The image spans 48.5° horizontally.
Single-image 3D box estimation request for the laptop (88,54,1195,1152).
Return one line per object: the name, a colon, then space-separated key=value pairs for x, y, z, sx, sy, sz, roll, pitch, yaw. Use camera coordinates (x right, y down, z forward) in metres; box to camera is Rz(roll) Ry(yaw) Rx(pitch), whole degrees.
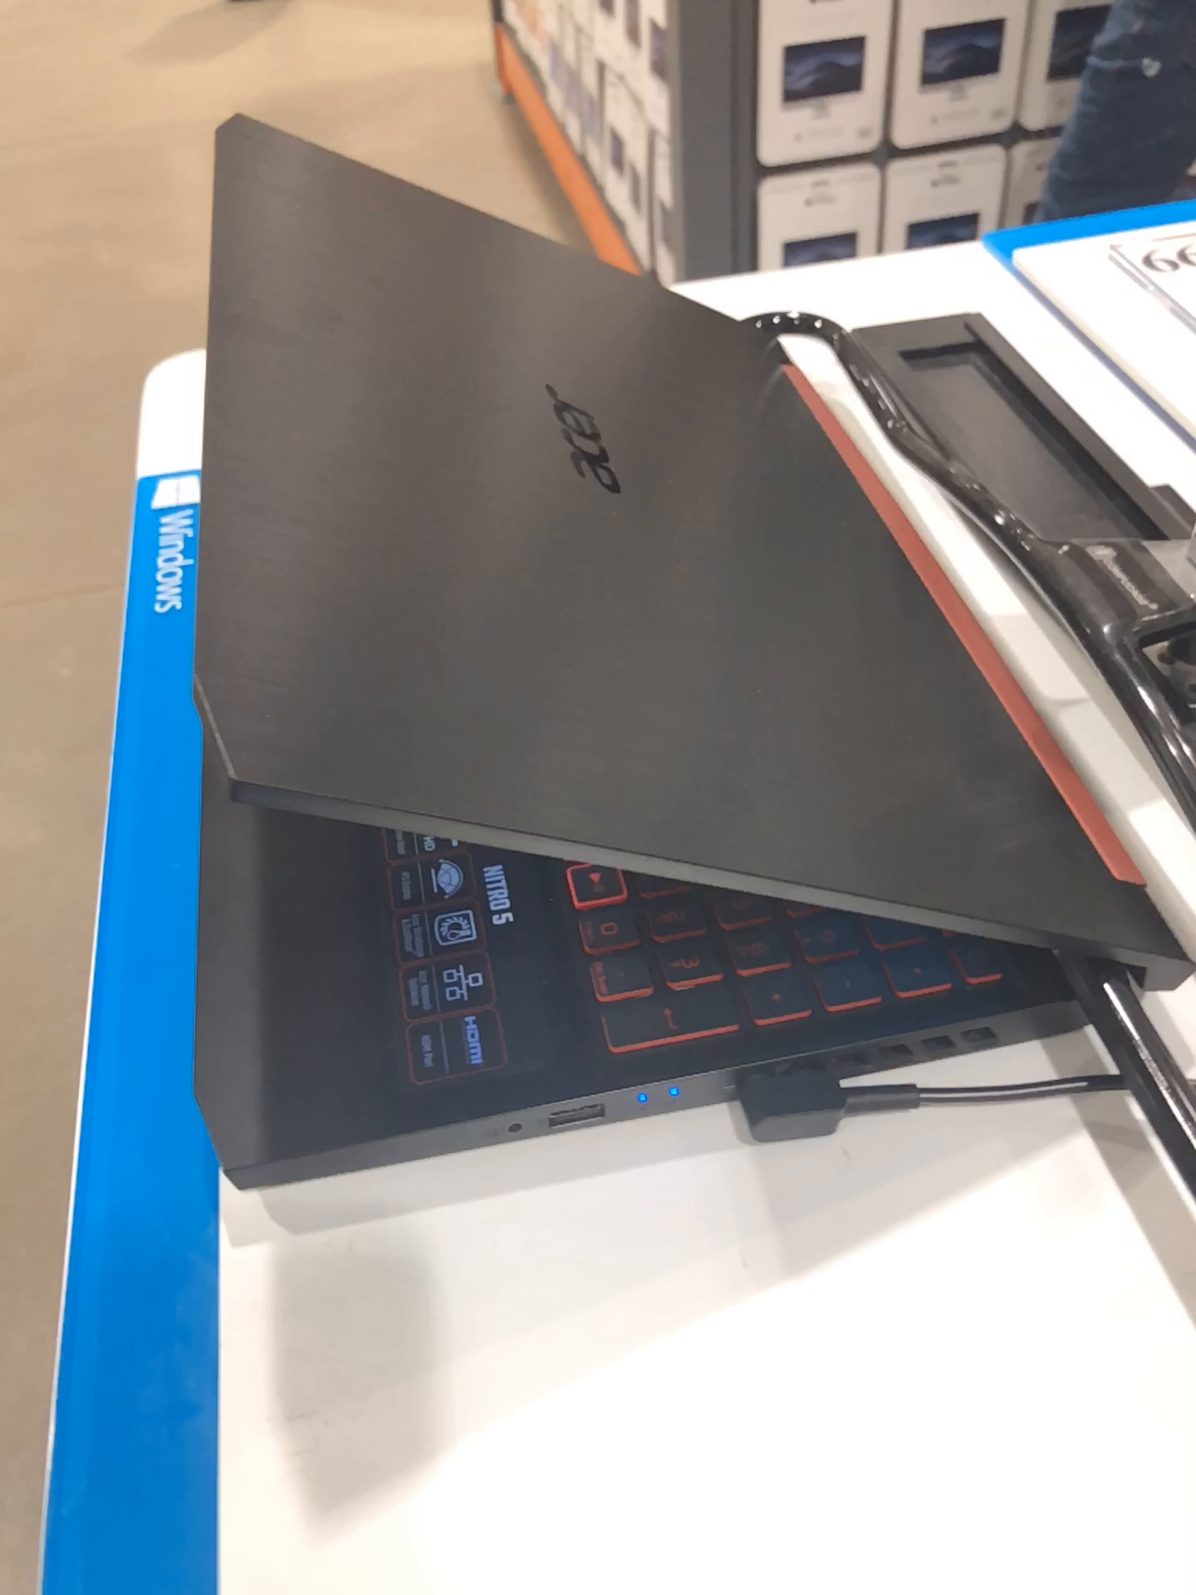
laptop: x=-0.017 y=-0.097 z=0.408 sx=0.218 sy=0.121 sz=0.346 roll=-11 pitch=45 yaw=-6
